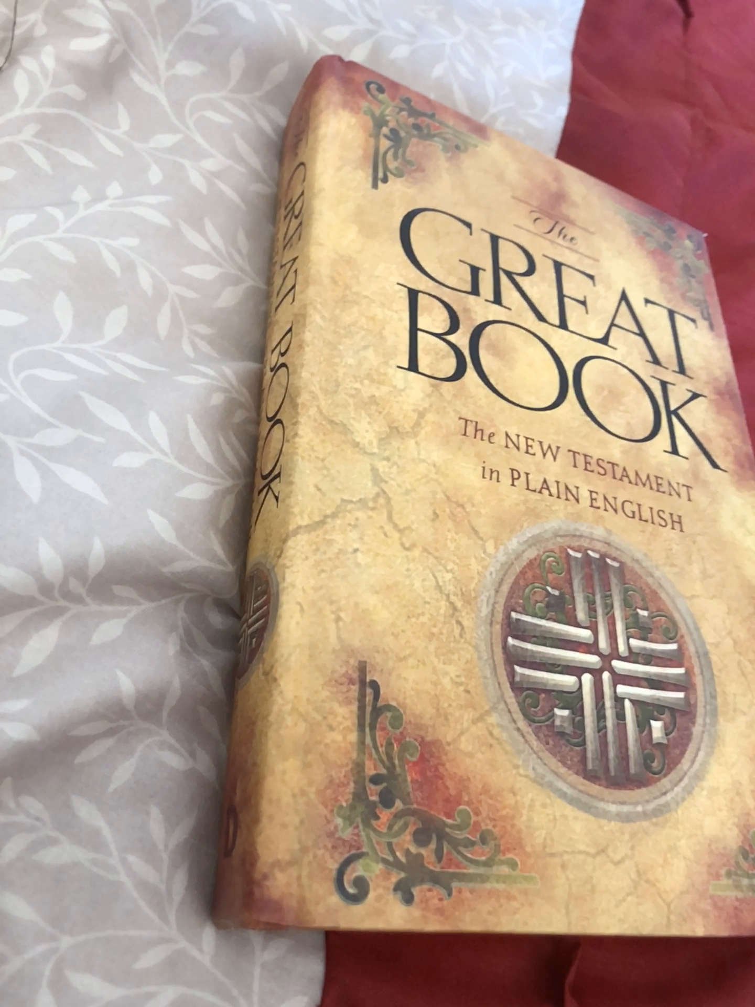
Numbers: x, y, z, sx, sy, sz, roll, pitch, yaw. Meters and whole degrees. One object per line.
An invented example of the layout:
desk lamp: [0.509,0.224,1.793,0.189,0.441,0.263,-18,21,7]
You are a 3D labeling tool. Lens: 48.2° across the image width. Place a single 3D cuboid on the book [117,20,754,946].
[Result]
book: [0.033,-0.007,0.227,0.161,0.040,0.221,13,62,-23]
